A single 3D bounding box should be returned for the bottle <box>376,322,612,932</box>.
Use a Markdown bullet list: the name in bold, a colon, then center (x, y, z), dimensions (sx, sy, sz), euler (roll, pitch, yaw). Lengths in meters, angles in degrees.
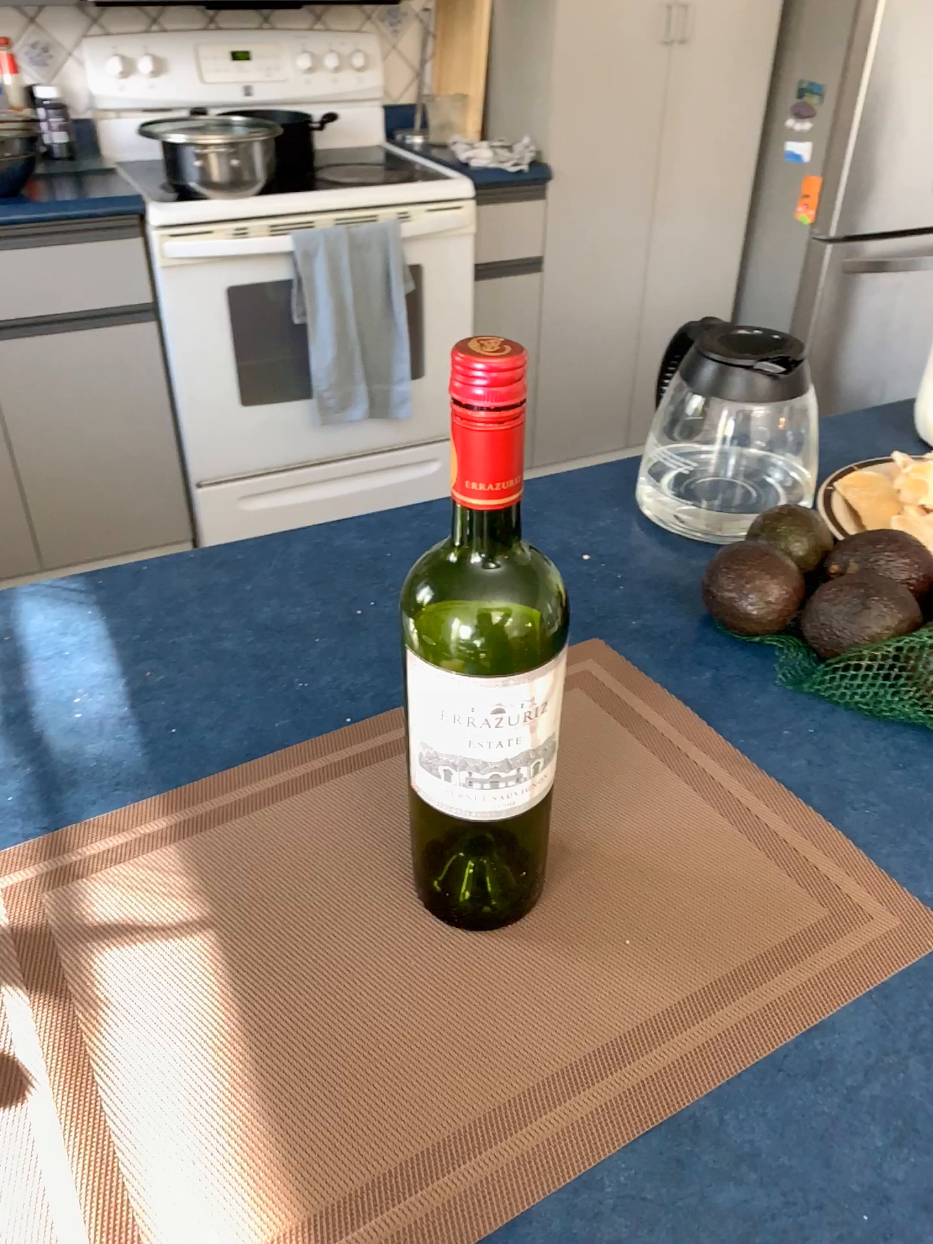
- **bottle**: center (0.008, 0.016, 0.434), dimensions (0.080, 0.277, 0.081), euler (0, 34, 0)
